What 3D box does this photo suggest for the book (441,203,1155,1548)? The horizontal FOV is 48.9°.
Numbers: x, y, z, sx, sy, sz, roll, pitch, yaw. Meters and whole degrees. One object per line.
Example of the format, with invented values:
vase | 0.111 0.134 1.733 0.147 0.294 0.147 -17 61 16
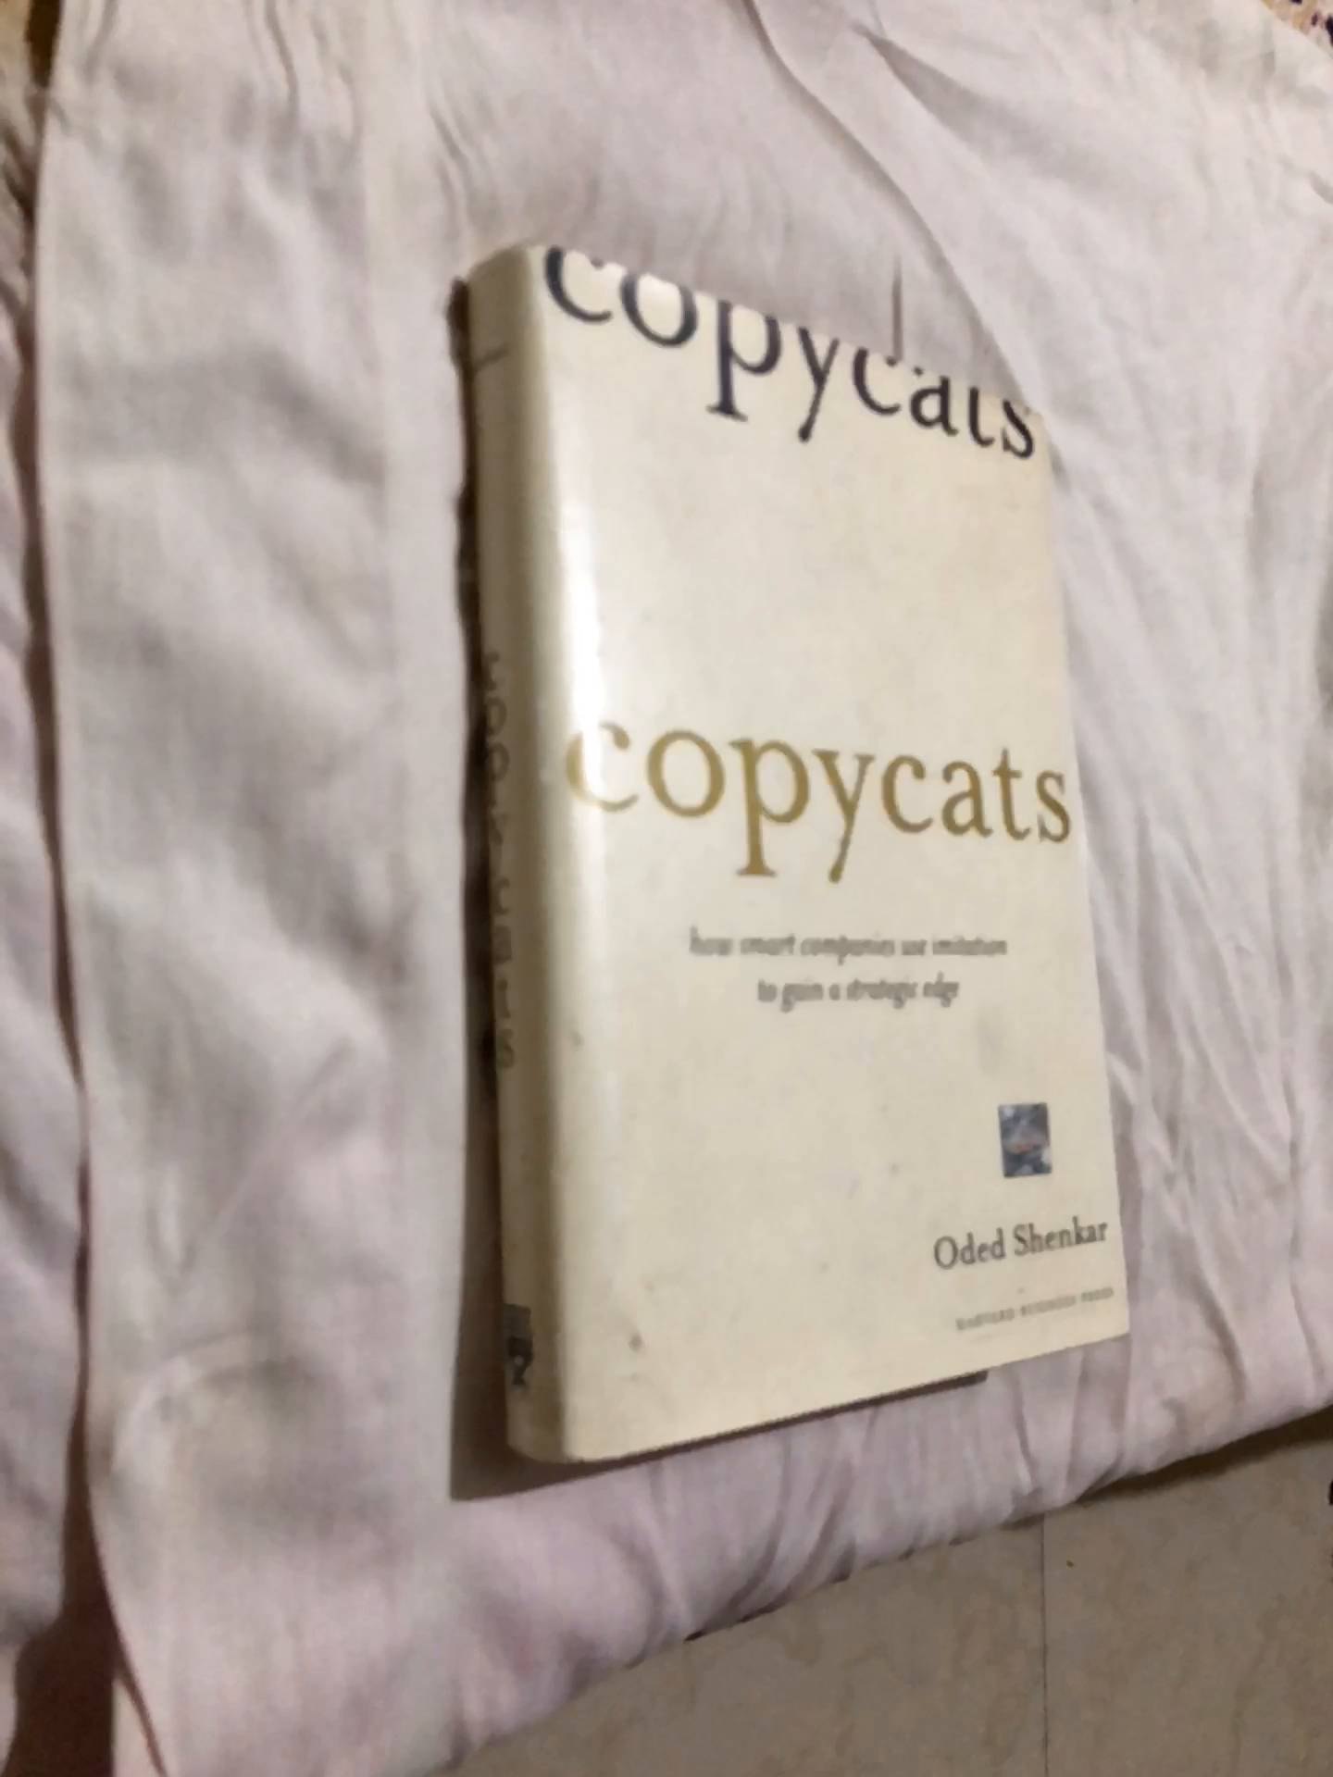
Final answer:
book | 0.030 -0.002 0.307 0.151 0.040 0.230 4 80 -35
